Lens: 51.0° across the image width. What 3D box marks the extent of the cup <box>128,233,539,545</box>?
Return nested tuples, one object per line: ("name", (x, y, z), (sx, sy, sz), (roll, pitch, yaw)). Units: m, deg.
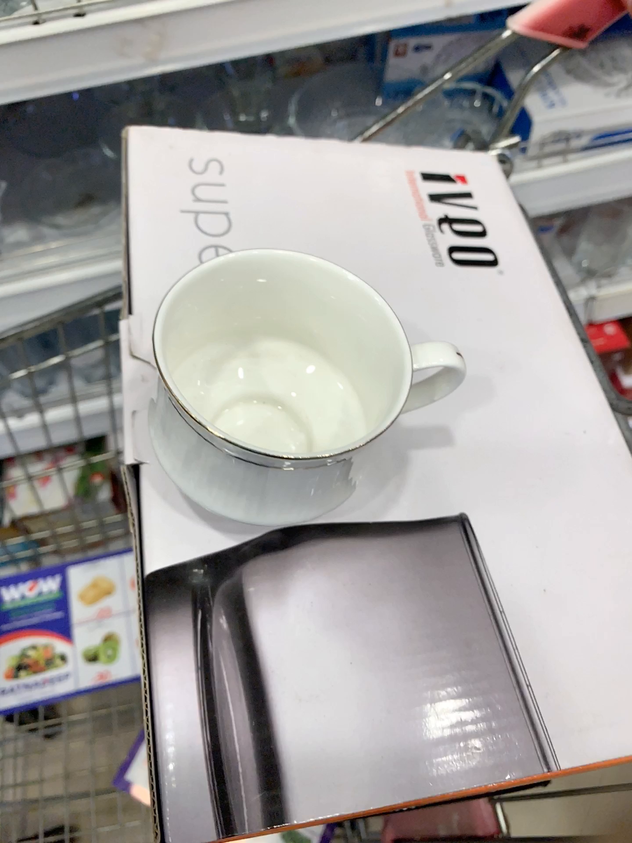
("cup", (-0.001, -0.009, 0.181), (0.090, 0.050, 0.060), (-3, 60, -21))
